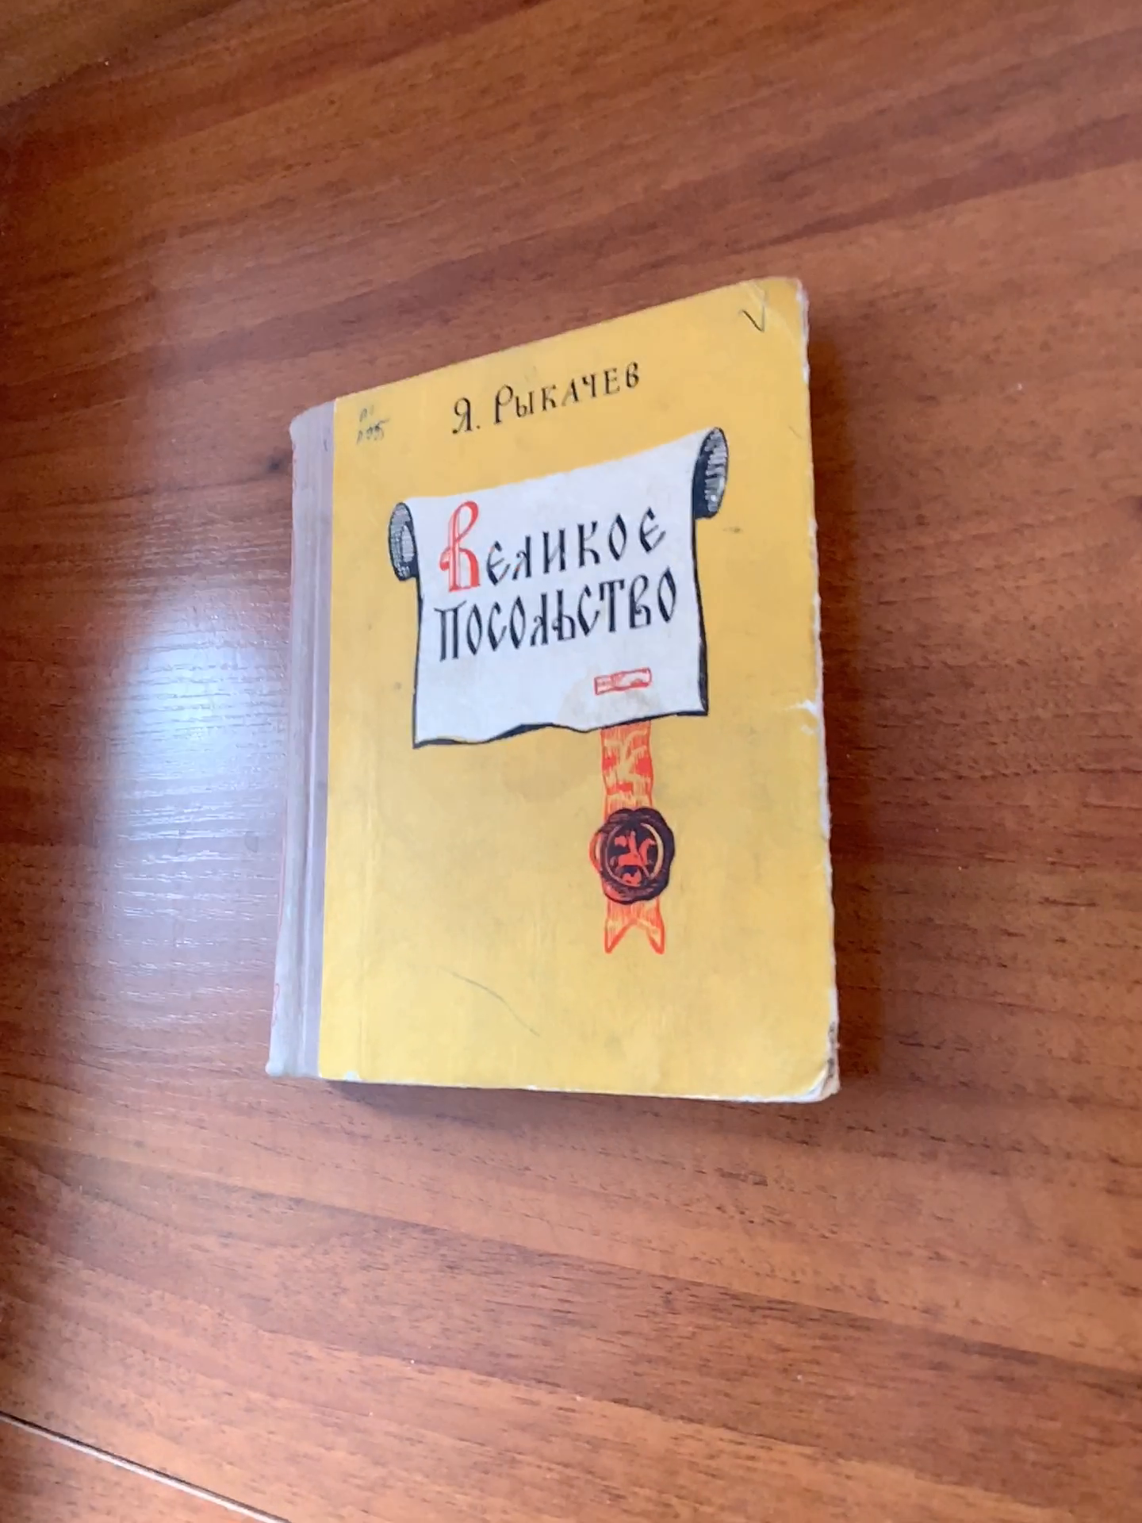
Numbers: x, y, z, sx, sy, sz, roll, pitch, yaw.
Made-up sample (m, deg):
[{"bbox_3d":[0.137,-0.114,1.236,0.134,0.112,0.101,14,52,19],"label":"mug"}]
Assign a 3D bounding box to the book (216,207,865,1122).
[{"bbox_3d":[-0.013,-0.017,0.257,0.142,0.023,0.170,-4,81,27],"label":"book"}]
